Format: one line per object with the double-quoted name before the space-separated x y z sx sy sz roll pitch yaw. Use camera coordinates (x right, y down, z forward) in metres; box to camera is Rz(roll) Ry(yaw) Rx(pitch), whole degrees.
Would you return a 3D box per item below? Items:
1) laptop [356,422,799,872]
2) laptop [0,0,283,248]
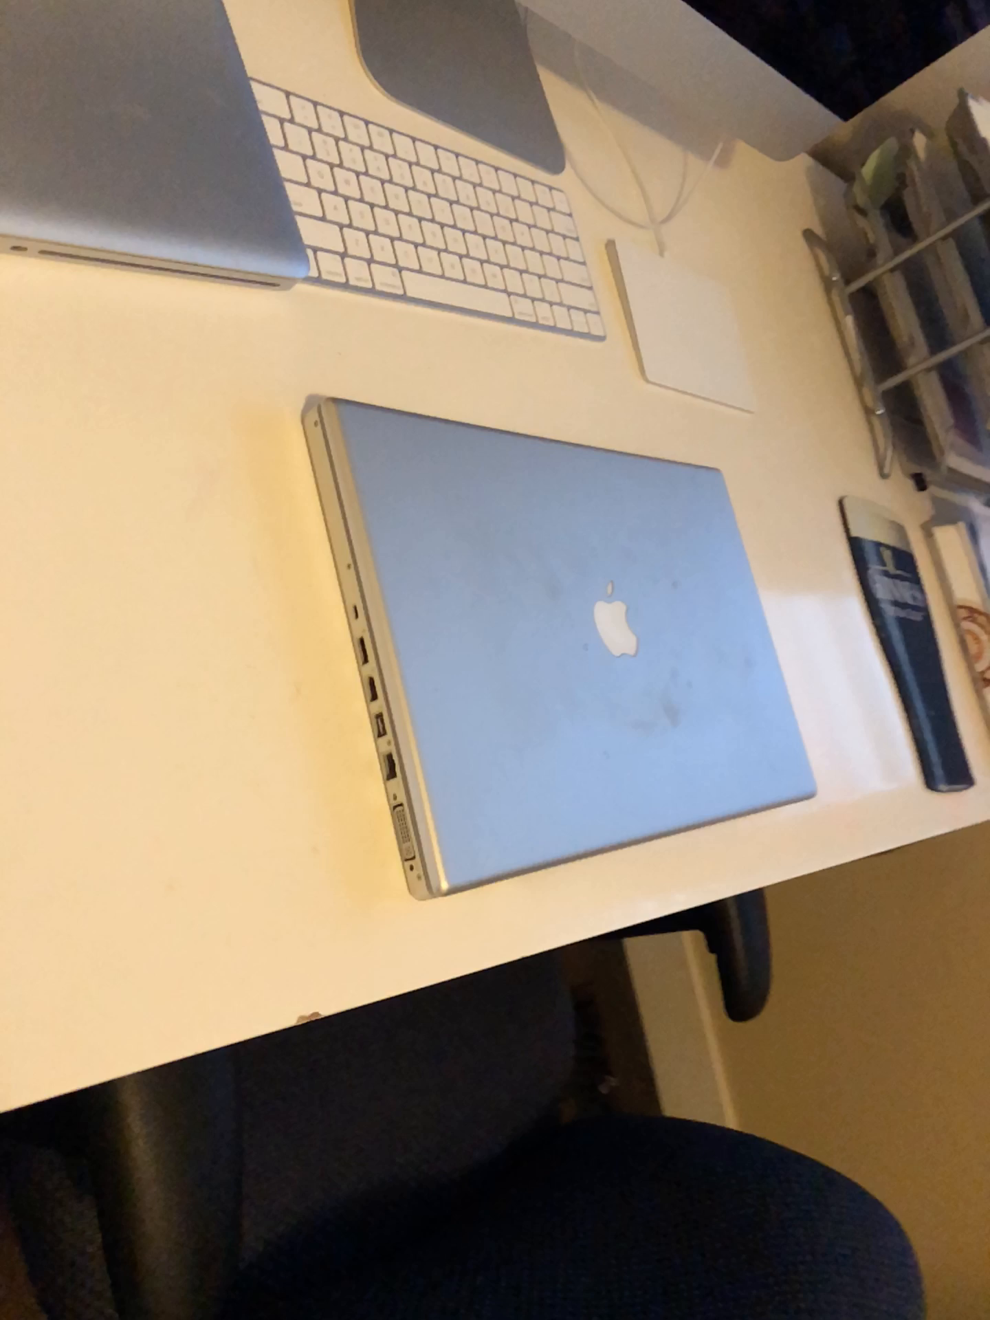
"laptop" 0.069 -0.017 0.625 0.334 0.005 0.214 -3 77 -48
"laptop" -0.199 -0.314 0.466 0.201 0.009 0.278 -11 83 -51
